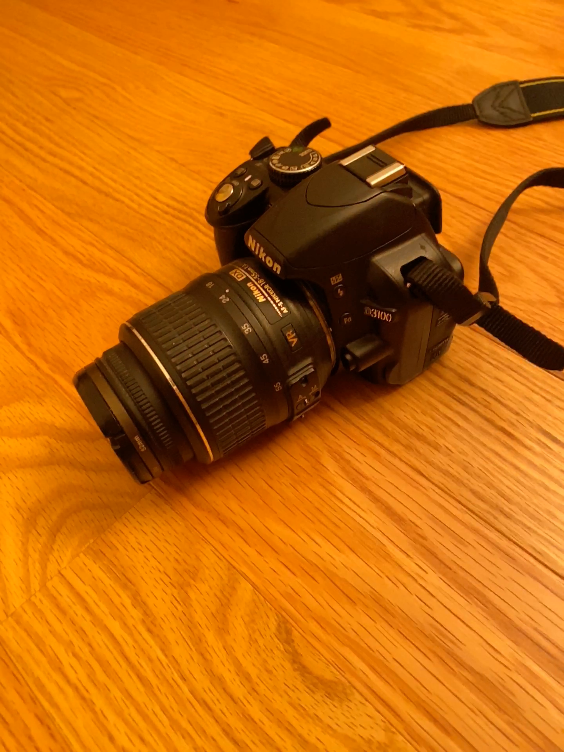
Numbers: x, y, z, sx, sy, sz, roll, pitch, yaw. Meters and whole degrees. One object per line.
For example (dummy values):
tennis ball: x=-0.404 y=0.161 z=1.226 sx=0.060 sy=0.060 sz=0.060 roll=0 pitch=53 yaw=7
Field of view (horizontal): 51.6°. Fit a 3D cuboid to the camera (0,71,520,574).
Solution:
camera: x=-0.014 y=-0.031 z=0.255 sx=0.160 sy=0.099 sz=0.130 roll=-34 pitch=57 yaw=-18
